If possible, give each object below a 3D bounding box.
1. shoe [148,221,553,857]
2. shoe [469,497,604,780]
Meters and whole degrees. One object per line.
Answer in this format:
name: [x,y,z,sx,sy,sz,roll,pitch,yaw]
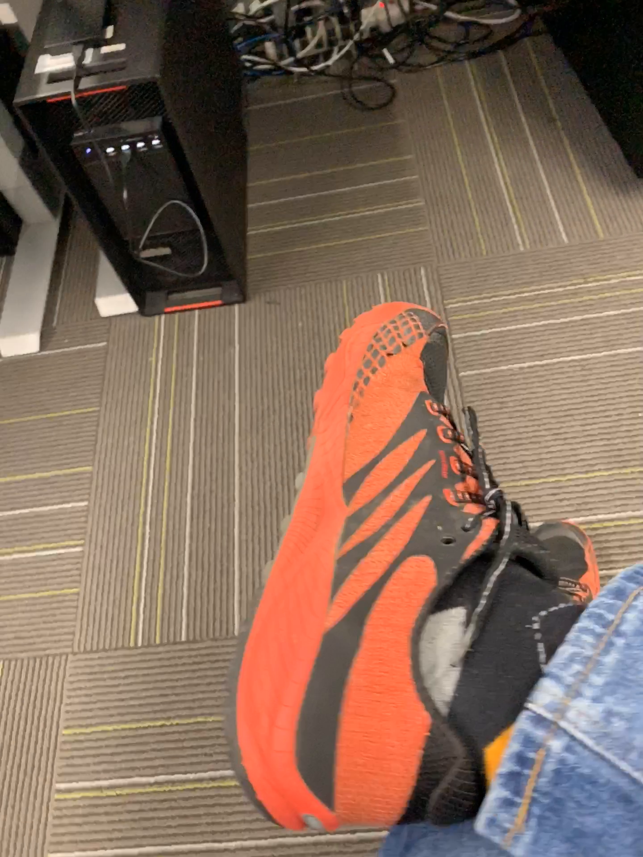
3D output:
shoe: [0.045,0.048,0.357,0.146,0.110,0.321,1,59,18]
shoe: [0.278,0.257,0.847,0.117,0.067,0.319,11,63,12]
